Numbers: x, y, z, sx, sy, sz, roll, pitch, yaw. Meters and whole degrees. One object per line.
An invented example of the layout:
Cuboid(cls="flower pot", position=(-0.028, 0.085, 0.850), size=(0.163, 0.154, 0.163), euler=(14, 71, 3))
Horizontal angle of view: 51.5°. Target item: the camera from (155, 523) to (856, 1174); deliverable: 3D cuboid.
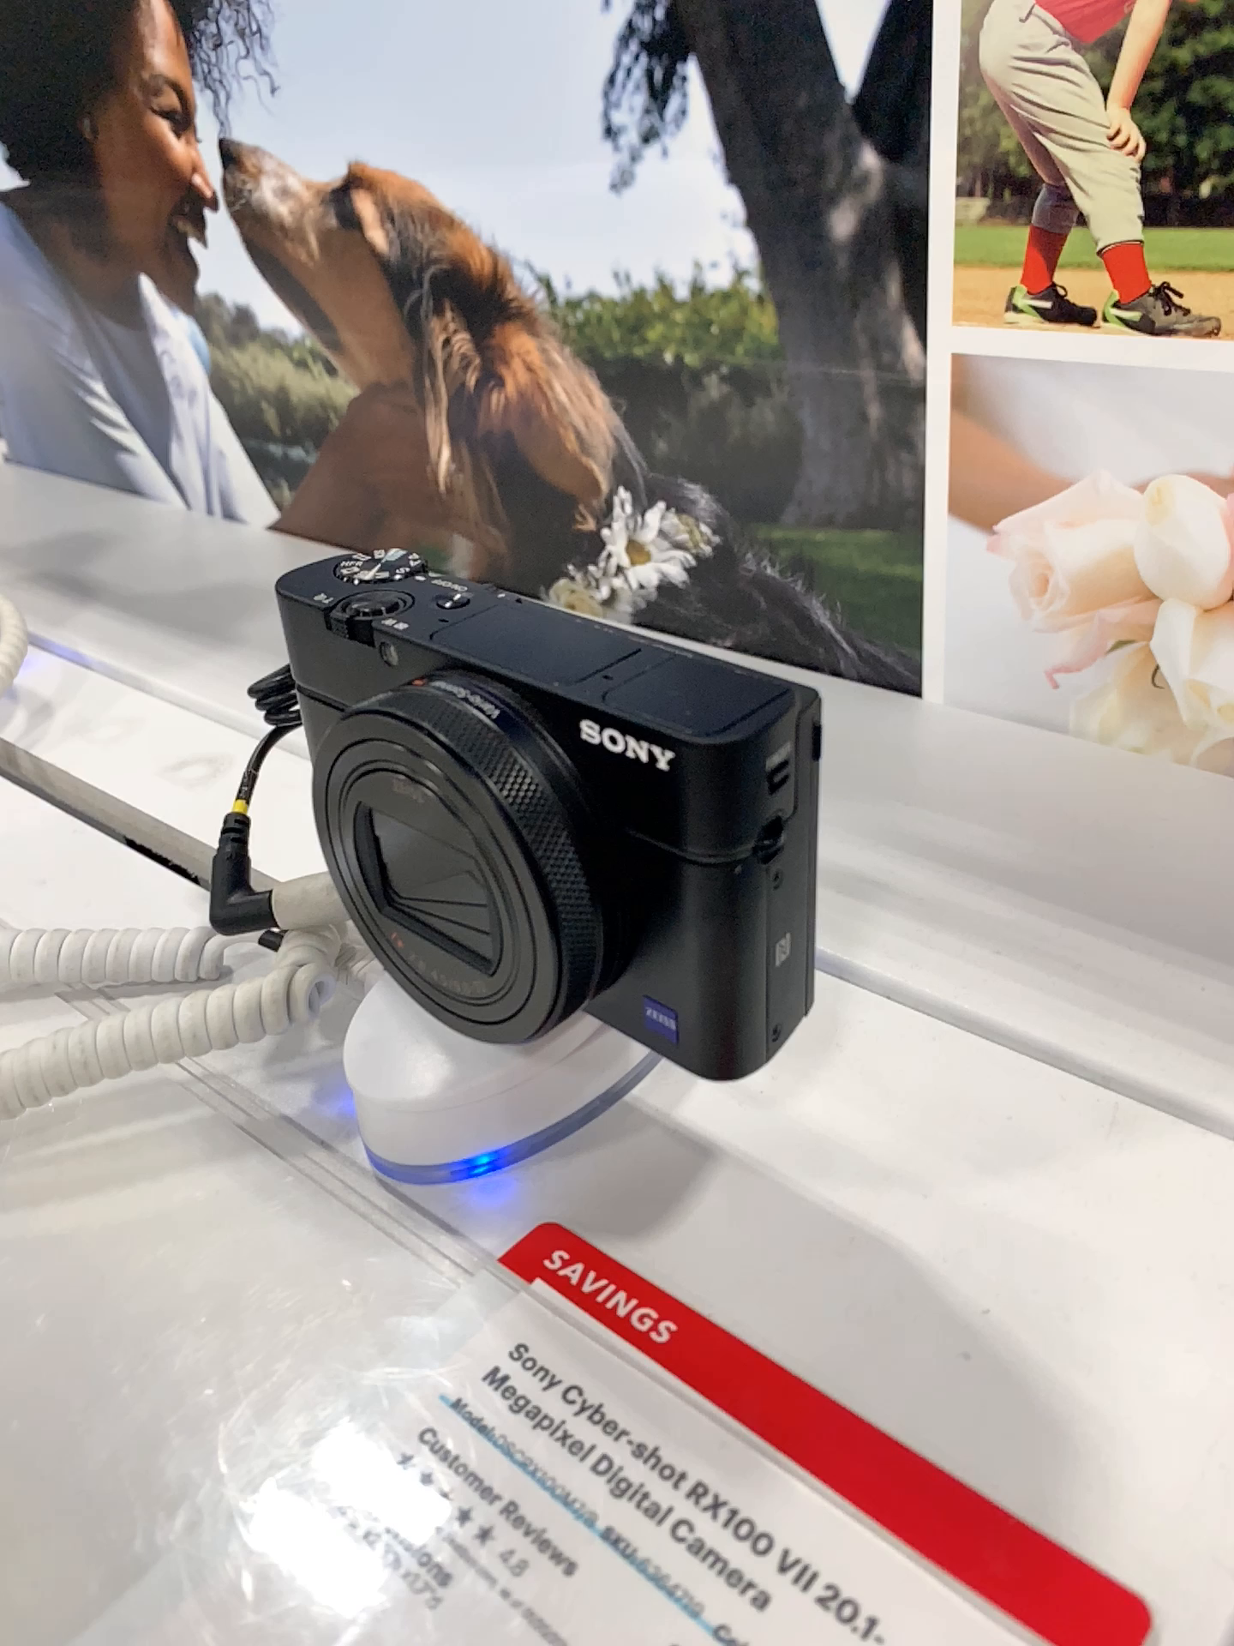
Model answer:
Cuboid(cls="camera", position=(-0.020, -0.004, 0.203), size=(0.105, 0.060, 0.043), euler=(23, 39, 37))
